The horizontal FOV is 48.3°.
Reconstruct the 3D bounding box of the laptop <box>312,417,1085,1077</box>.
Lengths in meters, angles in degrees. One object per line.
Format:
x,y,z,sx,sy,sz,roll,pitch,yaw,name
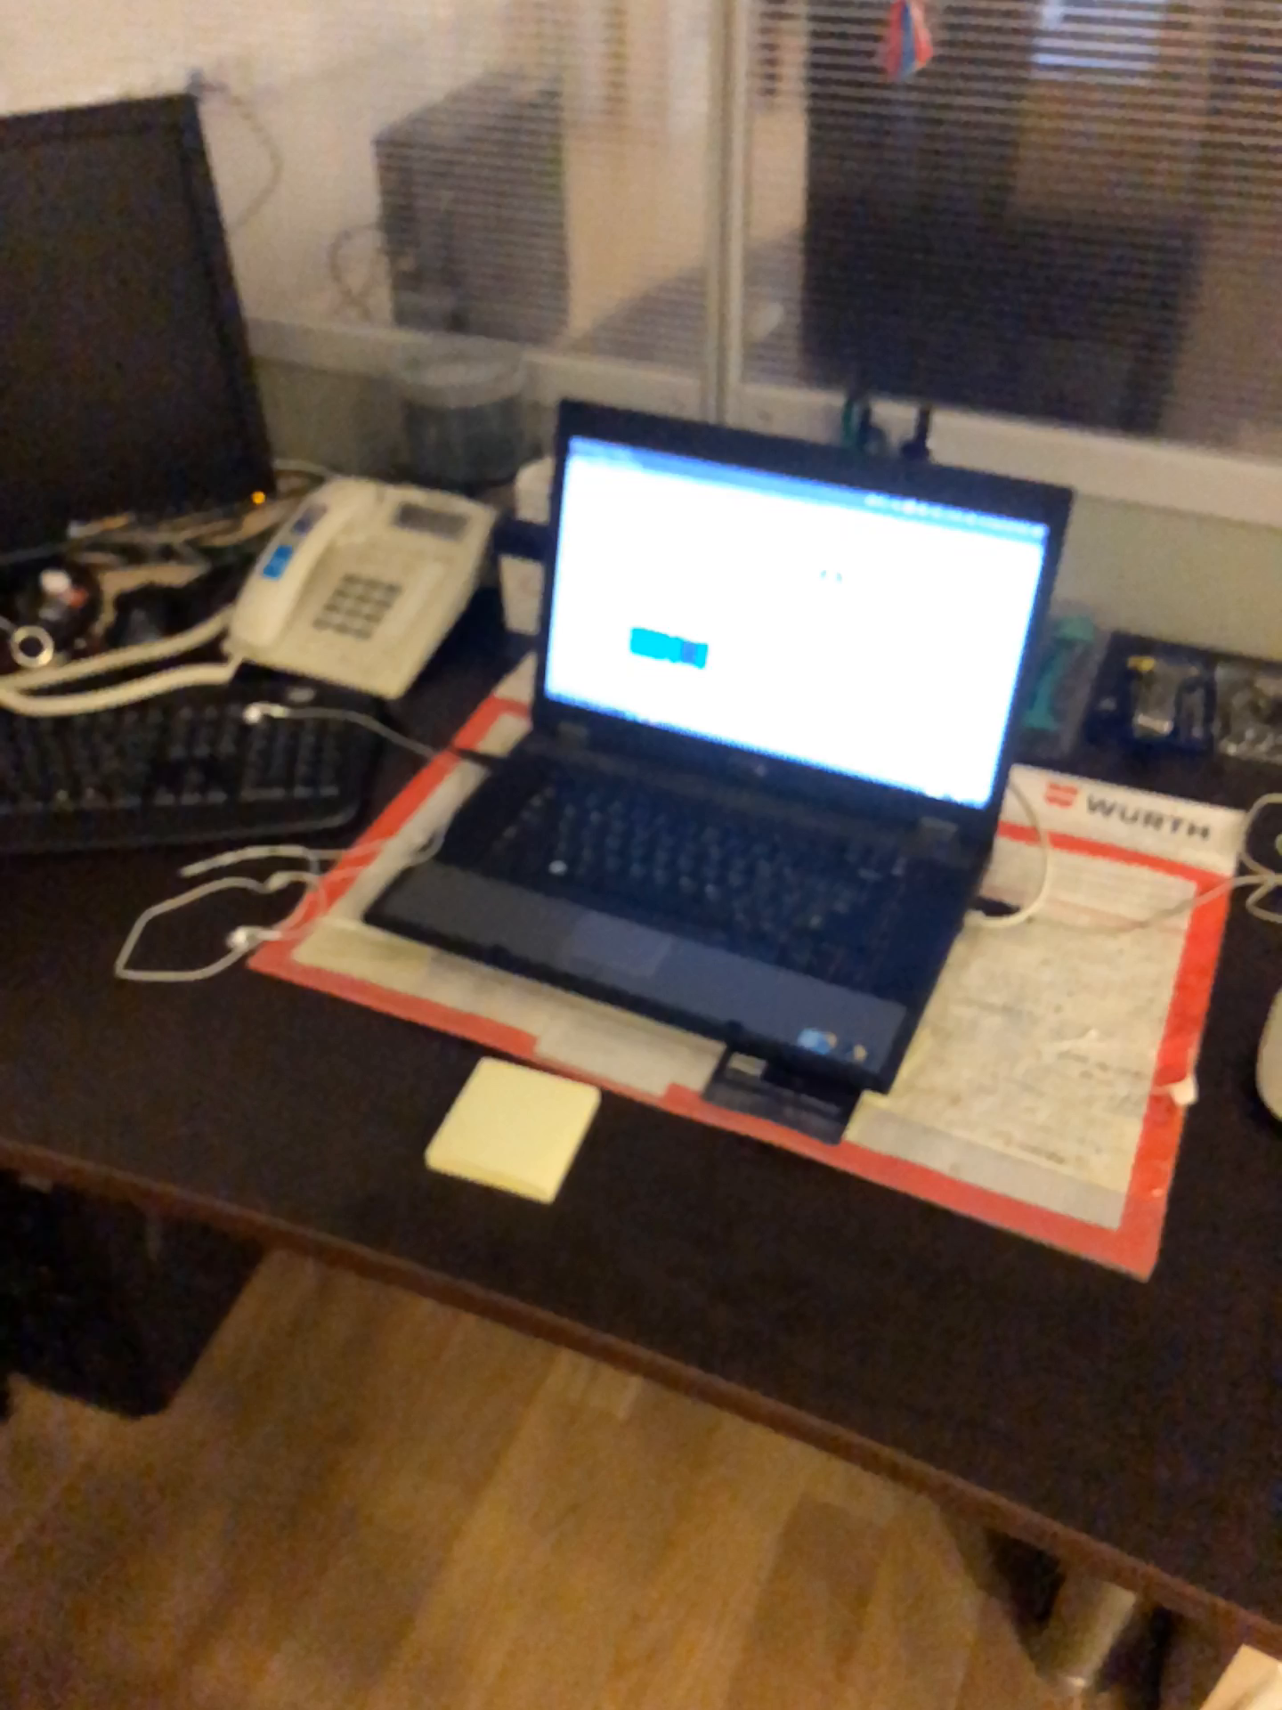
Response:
0.042,-0.078,0.806,0.317,0.209,0.257,15,43,20,laptop
